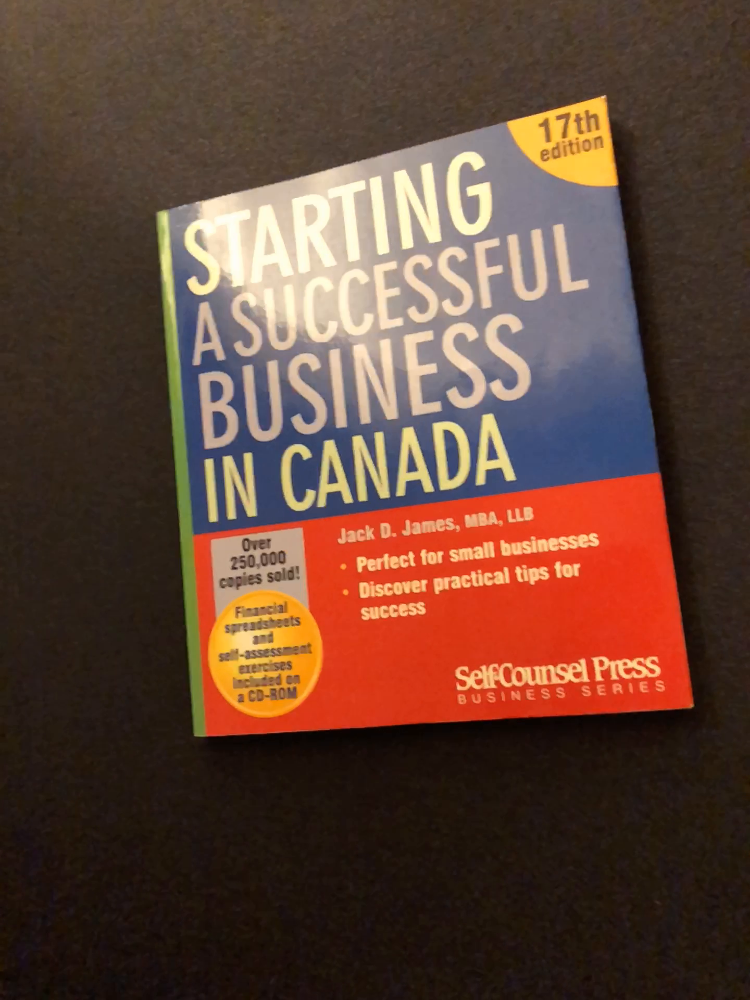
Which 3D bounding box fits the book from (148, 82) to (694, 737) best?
[{"bbox_3d":[0.010,-0.030,0.362,0.210,0.040,0.247,-7,82,16],"label":"book"}]
